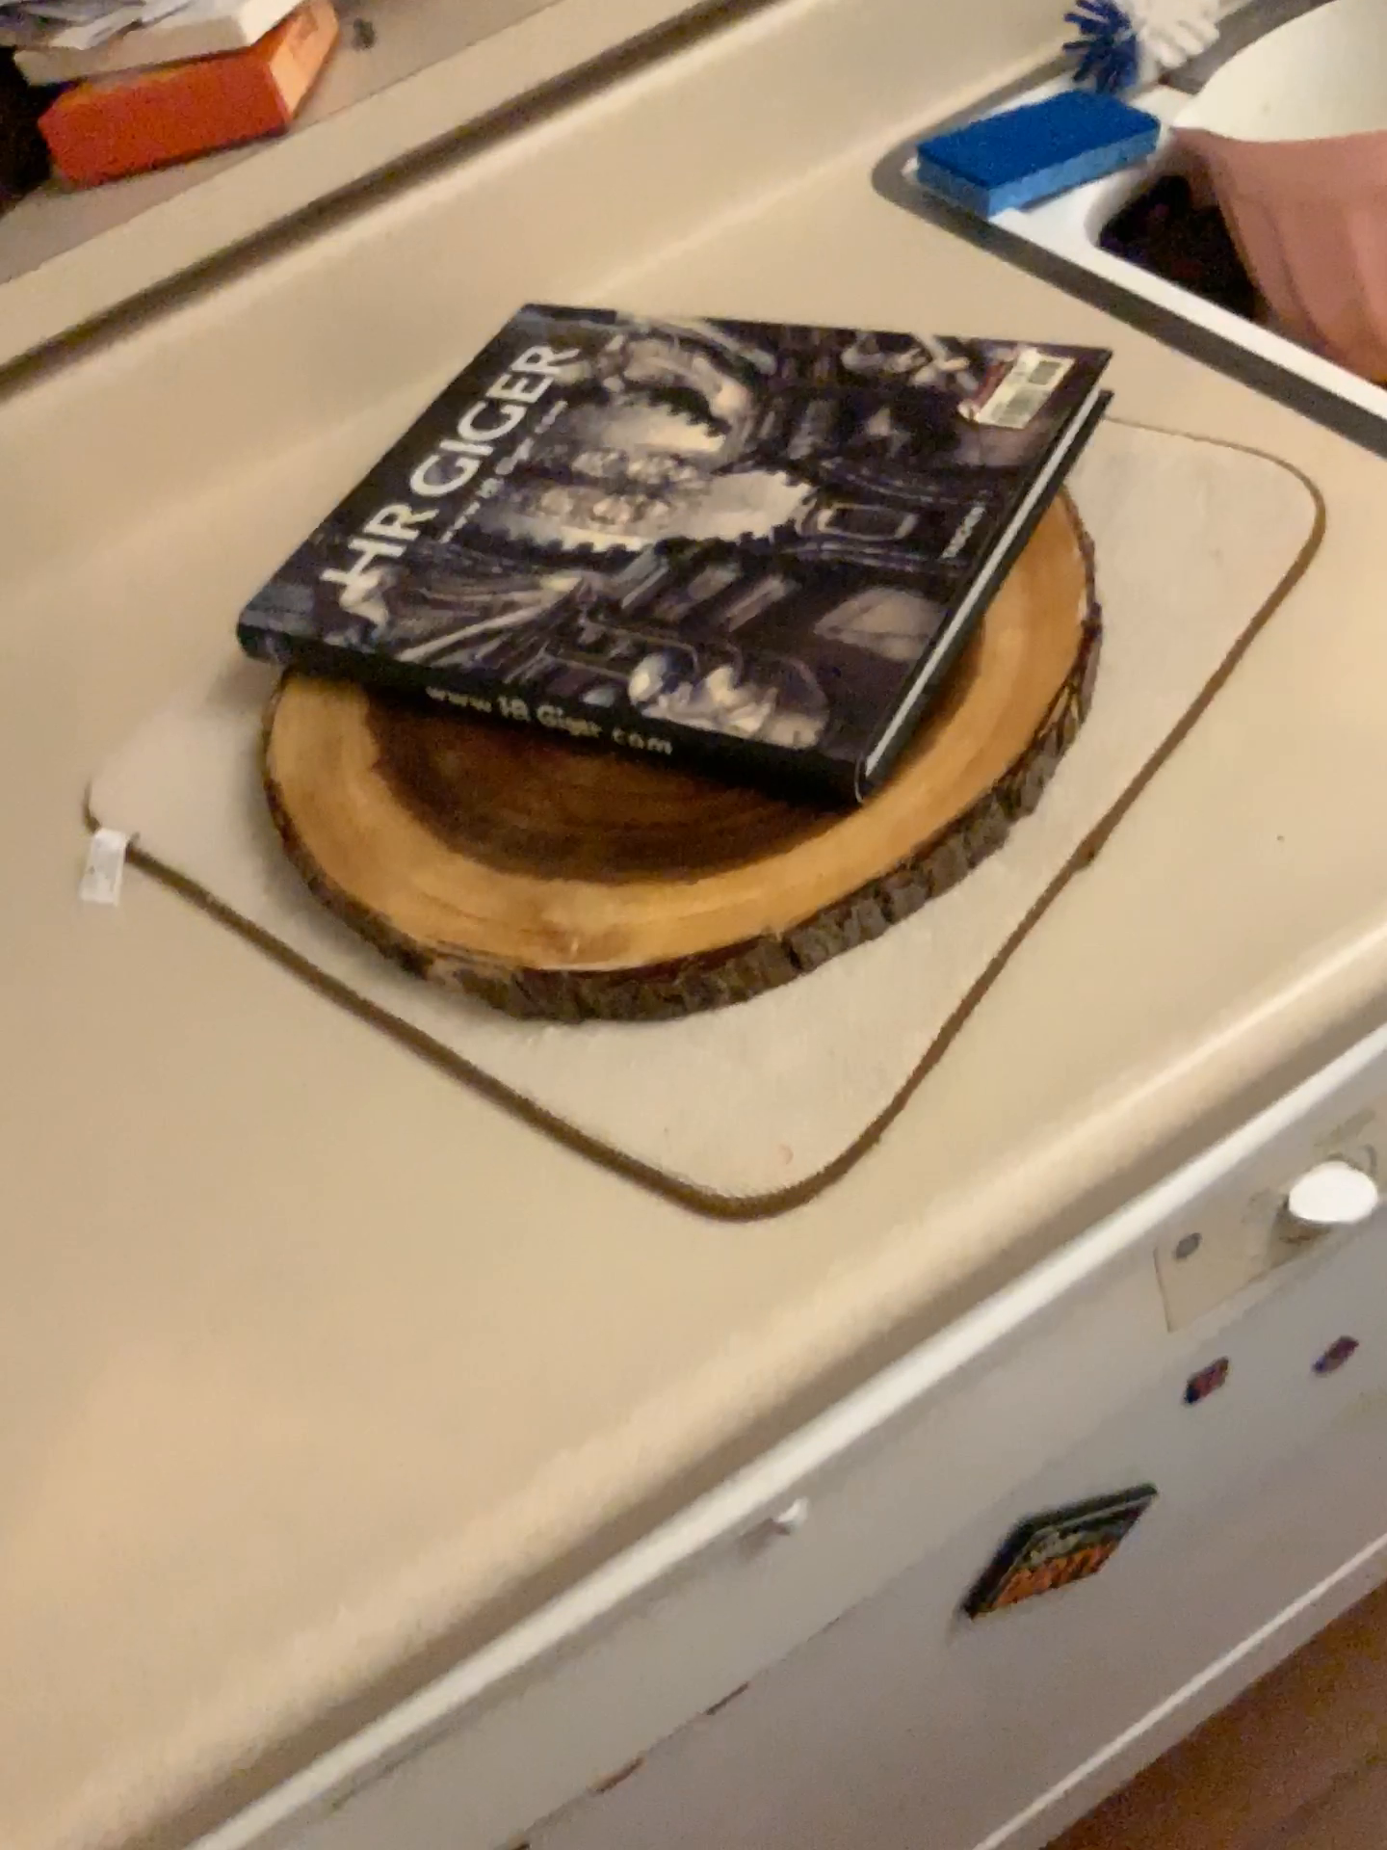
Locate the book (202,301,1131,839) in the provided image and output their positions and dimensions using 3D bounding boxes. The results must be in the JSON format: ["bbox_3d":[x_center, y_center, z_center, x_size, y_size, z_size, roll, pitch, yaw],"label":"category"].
[{"bbox_3d":[-0.013,-0.181,0.691,0.330,0.030,0.270,16,58,28],"label":"book"}]
